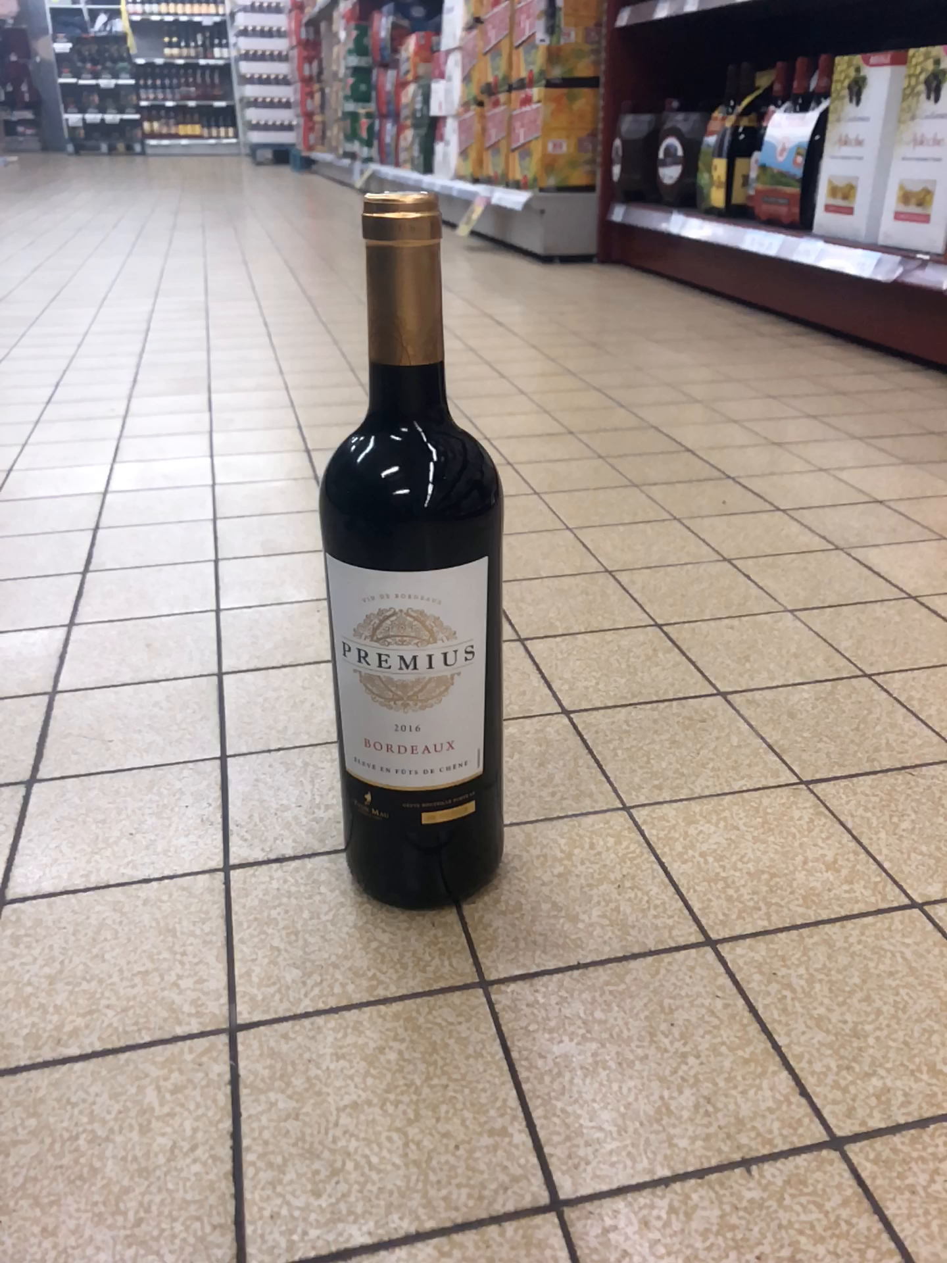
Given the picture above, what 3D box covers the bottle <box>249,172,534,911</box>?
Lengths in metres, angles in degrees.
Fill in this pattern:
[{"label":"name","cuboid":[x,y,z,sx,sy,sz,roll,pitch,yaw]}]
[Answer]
[{"label":"bottle","cuboid":[-0.024,-0.029,0.426,0.090,0.288,0.080,1,25,3]}]
